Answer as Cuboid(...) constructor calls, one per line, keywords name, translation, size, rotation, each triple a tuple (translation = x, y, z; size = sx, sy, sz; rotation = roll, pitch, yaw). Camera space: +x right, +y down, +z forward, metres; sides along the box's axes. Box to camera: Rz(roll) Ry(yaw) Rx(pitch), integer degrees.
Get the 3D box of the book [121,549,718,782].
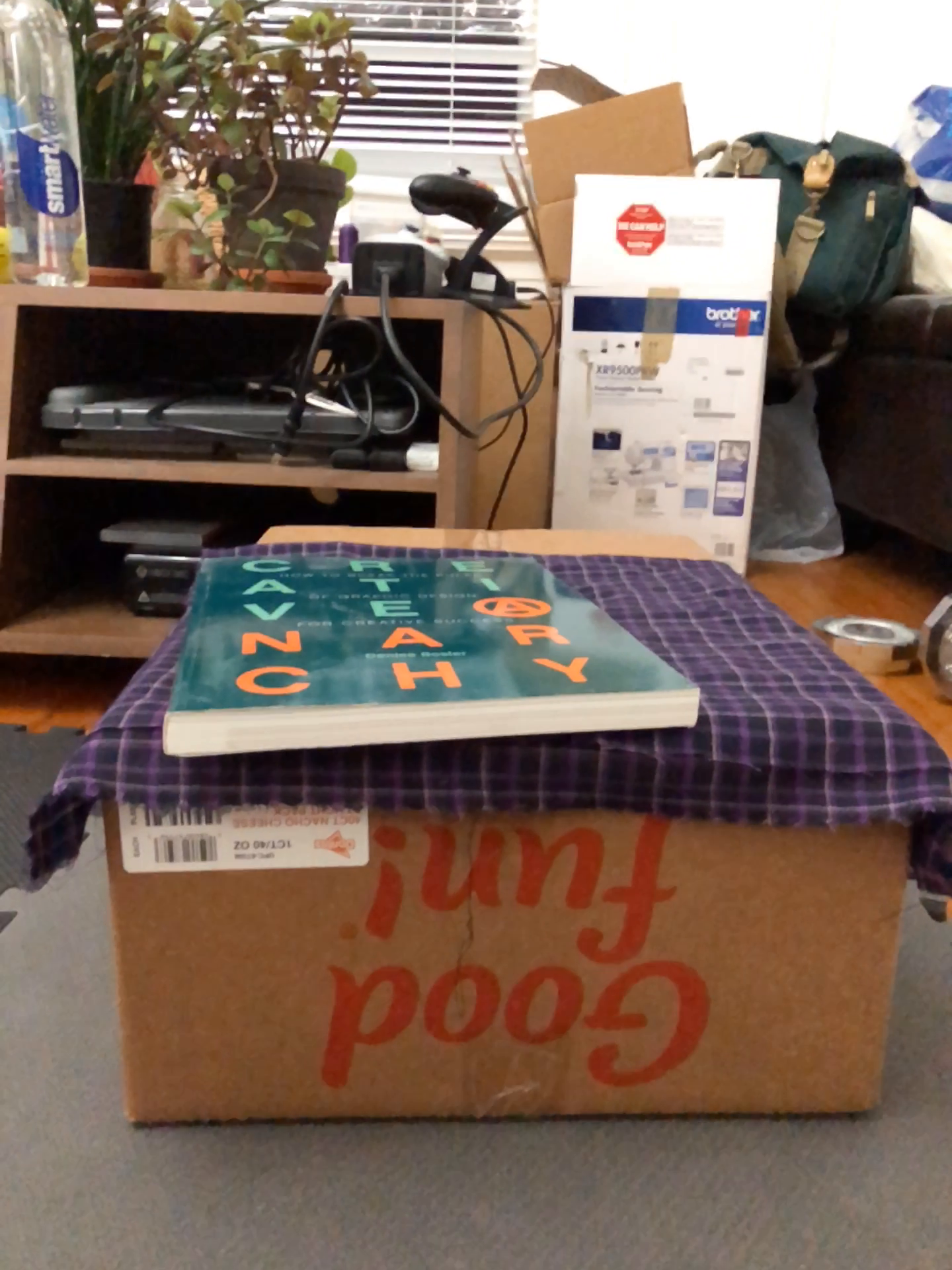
Cuboid(name="book", translation=(-0.045, -0.003, 0.525), size=(0.220, 0.020, 0.301), rotation=(-2, 16, -12))
